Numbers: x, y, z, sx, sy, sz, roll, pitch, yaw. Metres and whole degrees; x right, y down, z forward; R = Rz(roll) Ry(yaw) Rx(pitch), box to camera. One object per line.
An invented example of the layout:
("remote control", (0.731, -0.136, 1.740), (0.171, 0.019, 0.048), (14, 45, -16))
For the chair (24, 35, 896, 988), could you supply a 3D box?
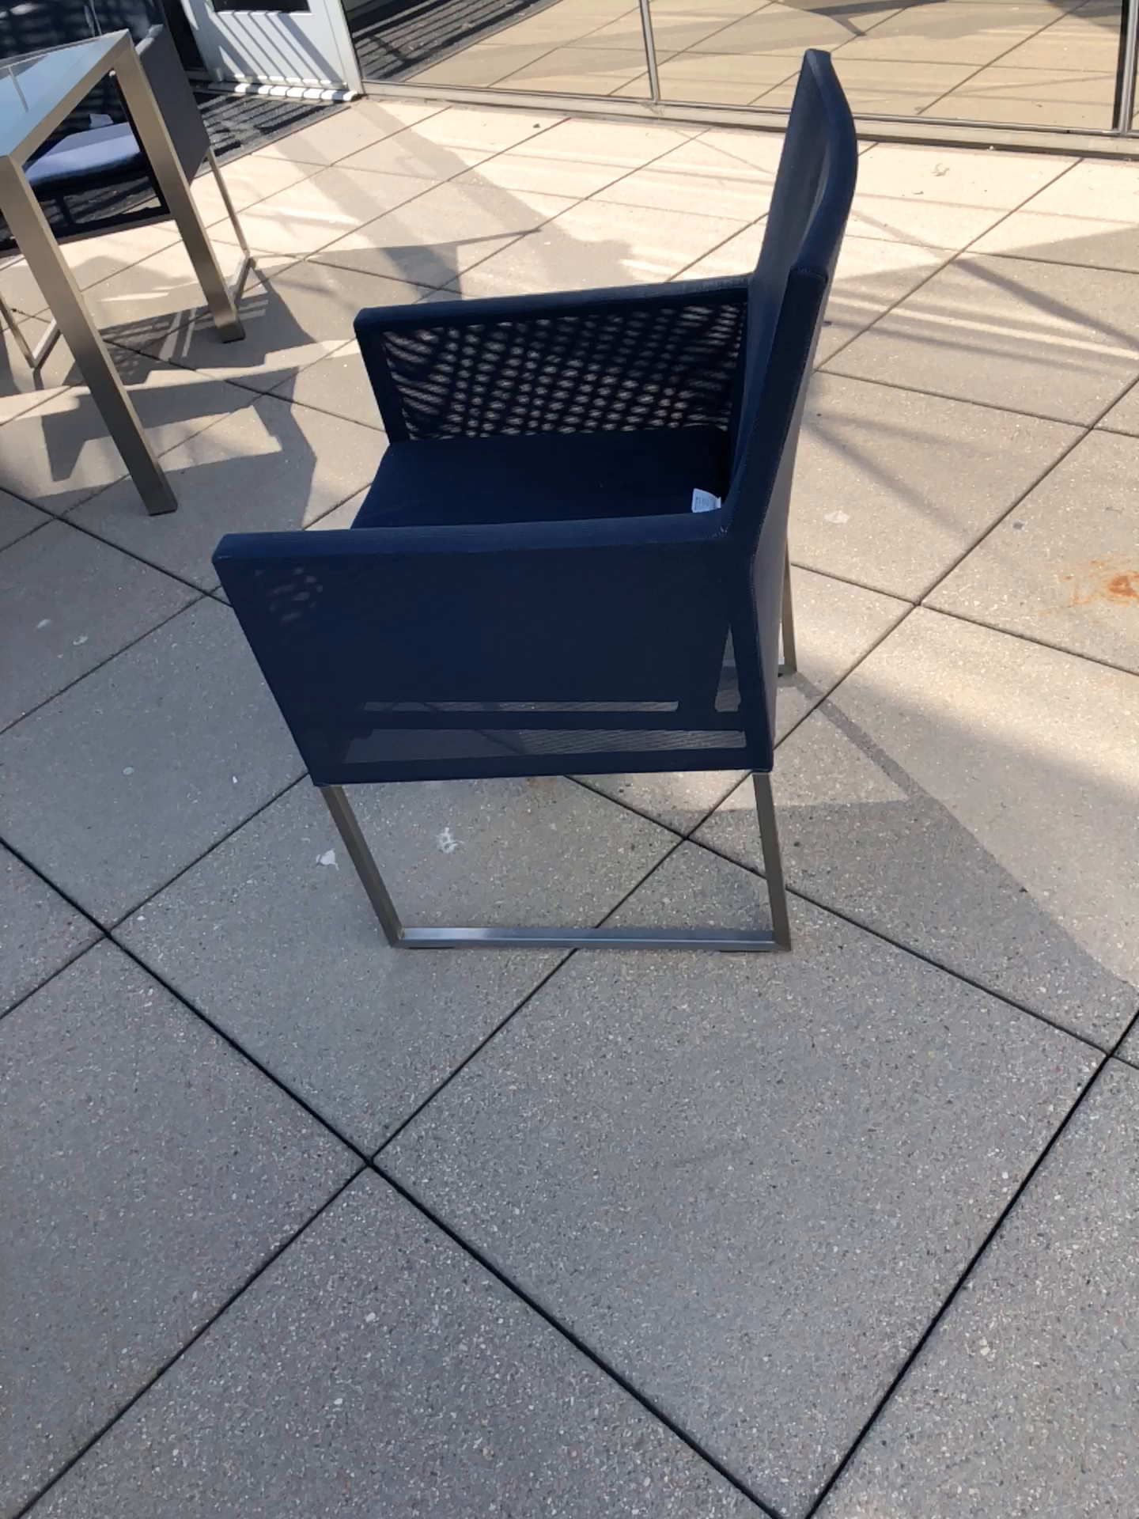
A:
("chair", (0.003, -0.244, 1.419), (0.671, 0.776, 0.653), (-2, 43, 13))
